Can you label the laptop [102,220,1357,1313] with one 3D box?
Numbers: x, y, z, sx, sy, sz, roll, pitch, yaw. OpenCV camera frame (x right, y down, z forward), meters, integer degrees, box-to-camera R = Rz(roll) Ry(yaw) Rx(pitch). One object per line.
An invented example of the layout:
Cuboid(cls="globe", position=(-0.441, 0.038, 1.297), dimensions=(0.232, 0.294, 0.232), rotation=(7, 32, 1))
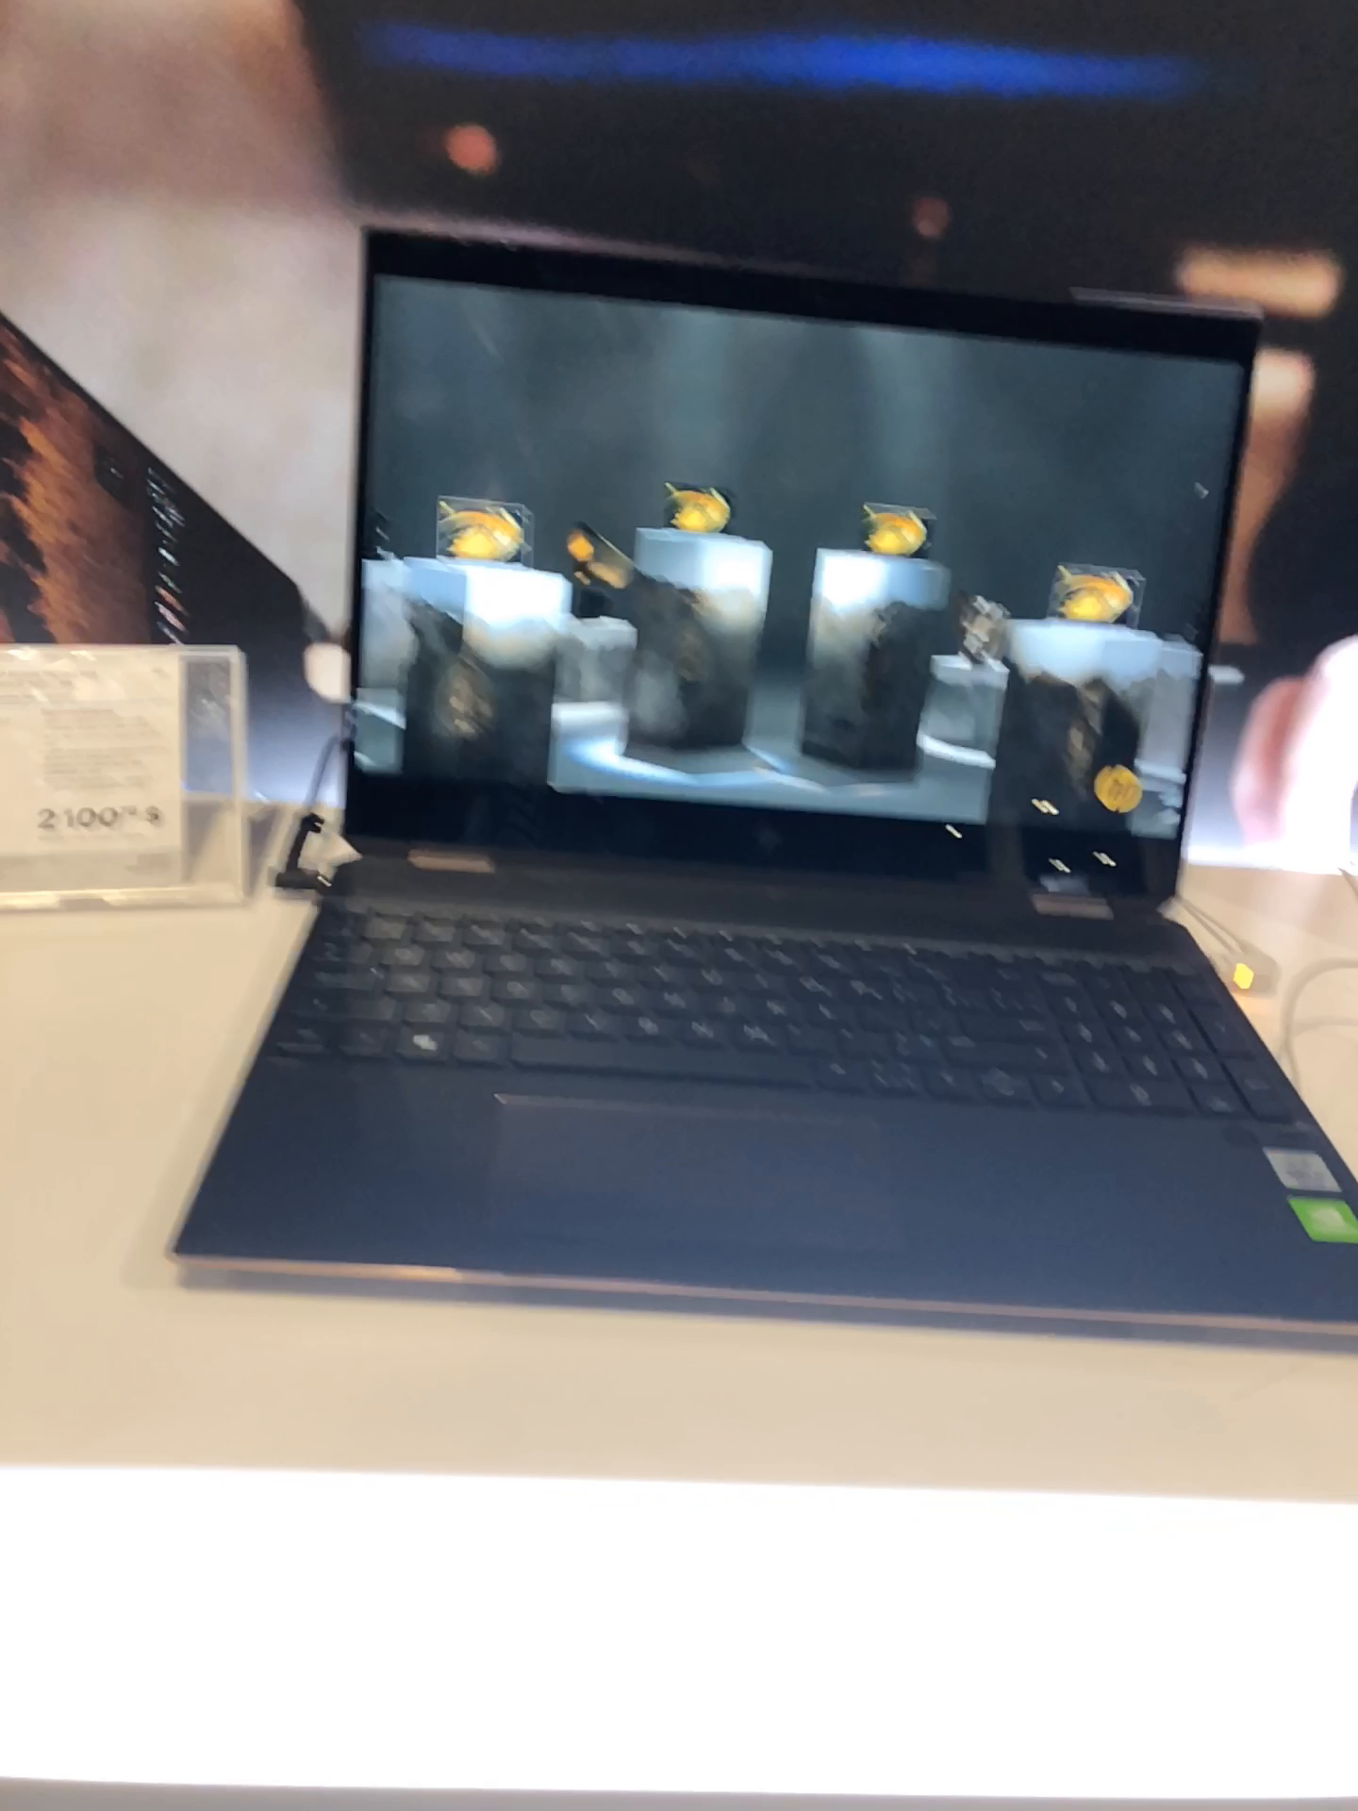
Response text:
Cuboid(cls="laptop", position=(0.040, -0.073, 0.488), dimensions=(0.332, 0.226, 0.323), rotation=(4, 26, -6))
